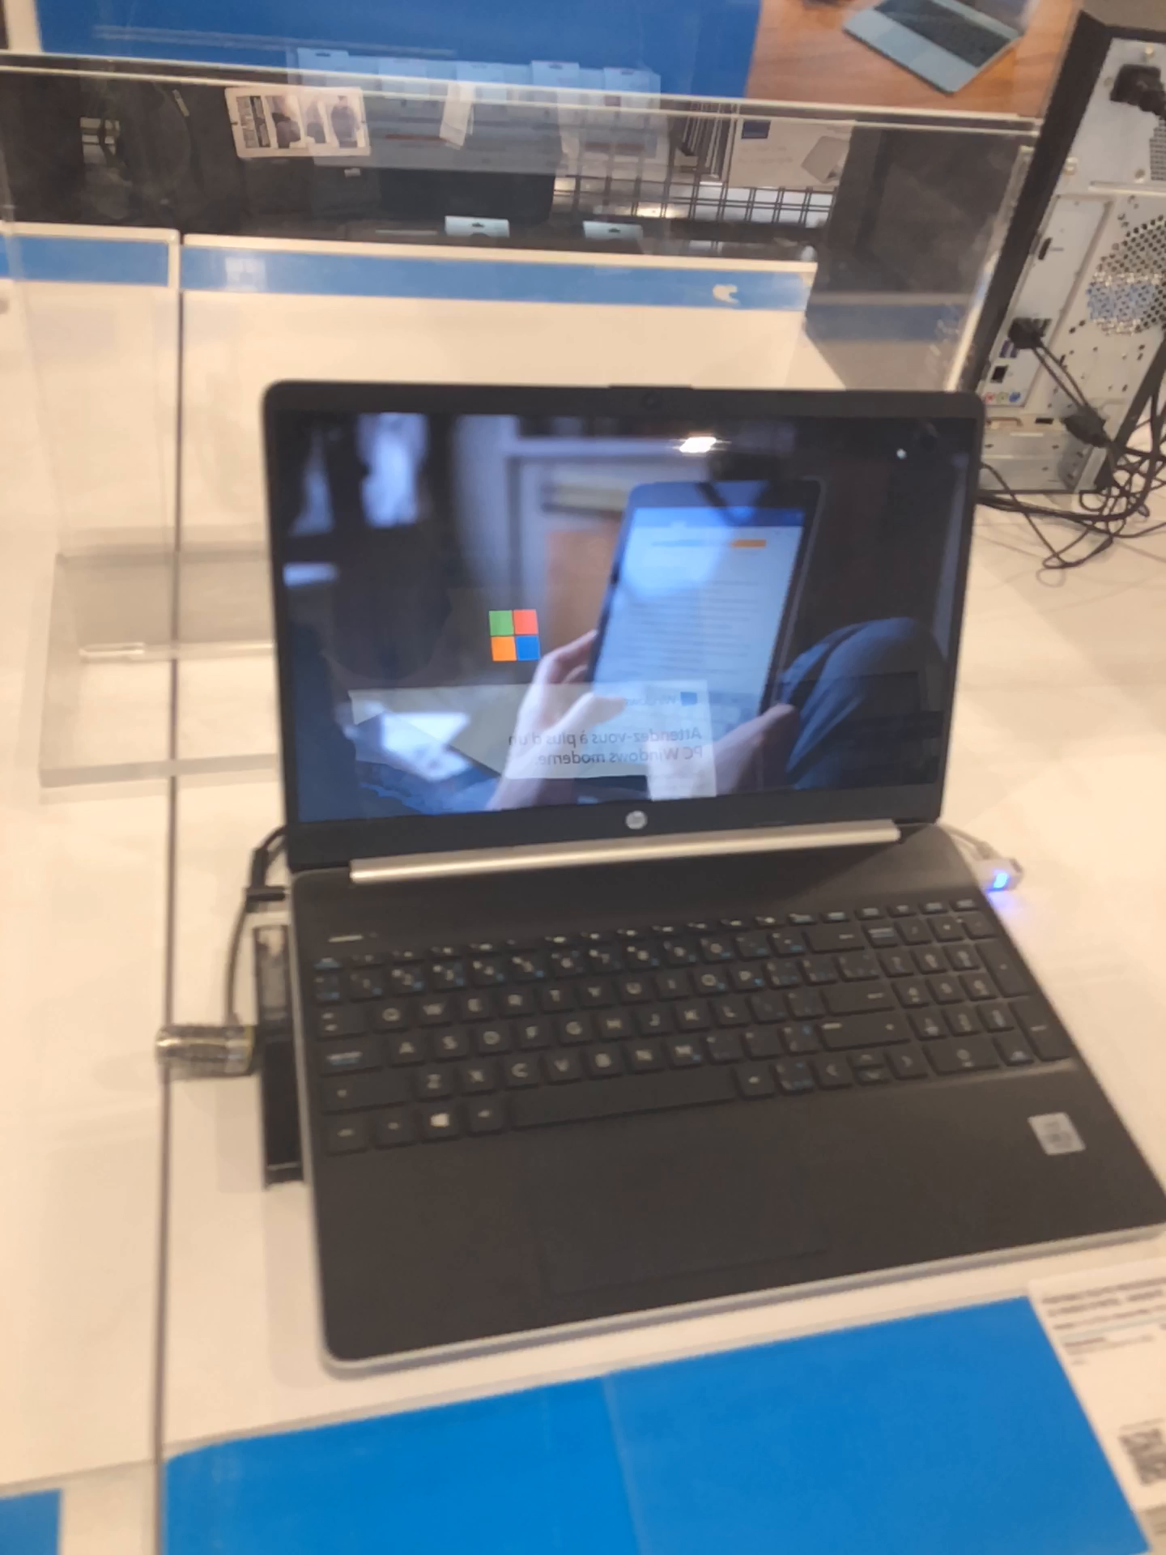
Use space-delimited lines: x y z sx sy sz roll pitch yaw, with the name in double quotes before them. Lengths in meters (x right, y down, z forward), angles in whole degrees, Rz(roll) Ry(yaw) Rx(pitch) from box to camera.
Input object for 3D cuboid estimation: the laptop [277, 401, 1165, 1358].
"laptop" 0.056 0.009 0.548 0.346 0.196 0.335 -3 43 -15
